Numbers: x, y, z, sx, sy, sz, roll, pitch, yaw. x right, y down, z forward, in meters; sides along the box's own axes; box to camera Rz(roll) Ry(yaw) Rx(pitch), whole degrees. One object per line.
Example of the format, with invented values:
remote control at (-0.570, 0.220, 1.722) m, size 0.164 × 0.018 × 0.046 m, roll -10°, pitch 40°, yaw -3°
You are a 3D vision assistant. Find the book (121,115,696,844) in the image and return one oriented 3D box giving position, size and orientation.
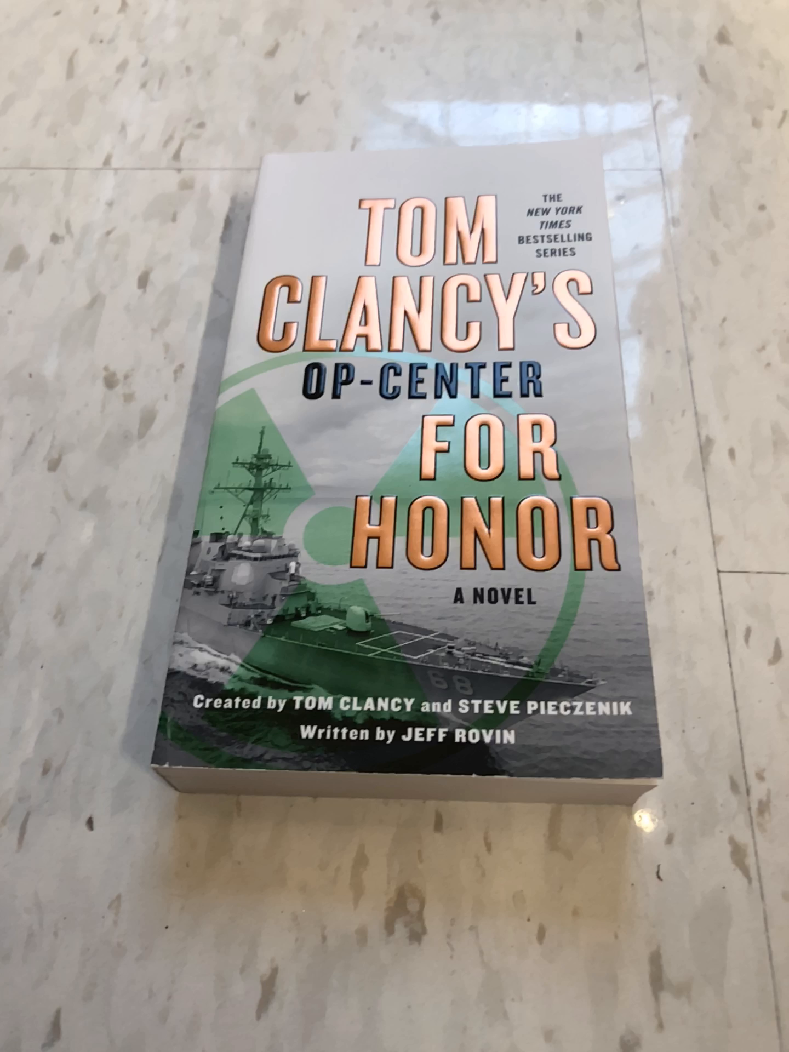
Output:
book at (0.006, -0.025, 0.239) m, size 0.110 × 0.050 × 0.201 m, roll 1°, pitch 60°, yaw 3°
